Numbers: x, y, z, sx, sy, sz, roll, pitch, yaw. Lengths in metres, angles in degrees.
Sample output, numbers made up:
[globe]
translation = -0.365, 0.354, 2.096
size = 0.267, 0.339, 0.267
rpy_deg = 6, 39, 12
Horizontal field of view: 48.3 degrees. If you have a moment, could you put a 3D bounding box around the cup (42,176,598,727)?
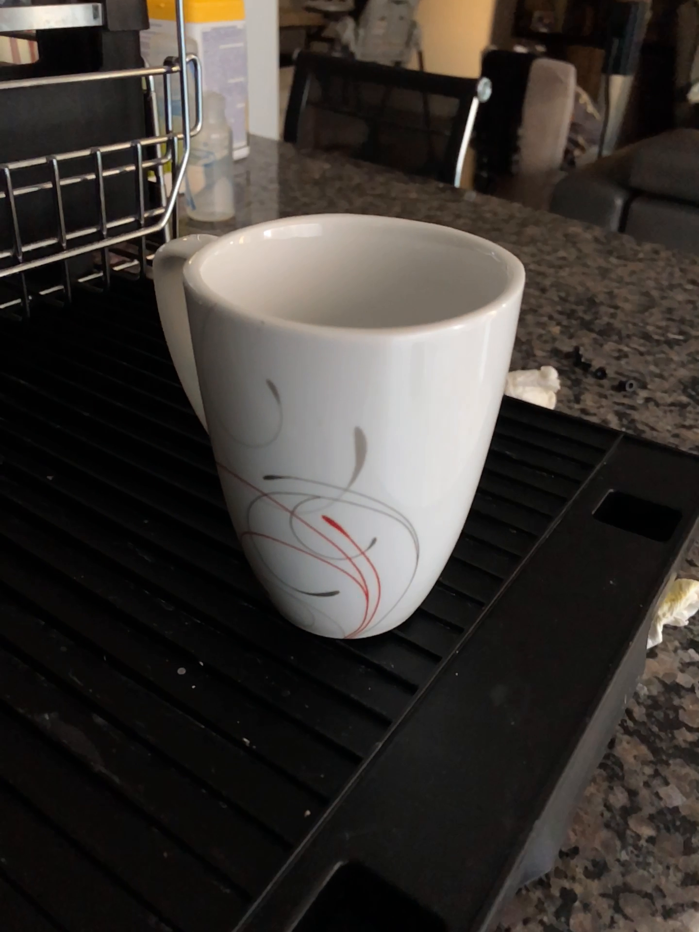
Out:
[cup]
translation = -0.008, -0.014, 0.233
size = 0.116, 0.105, 0.088
rpy_deg = 23, 38, 27
